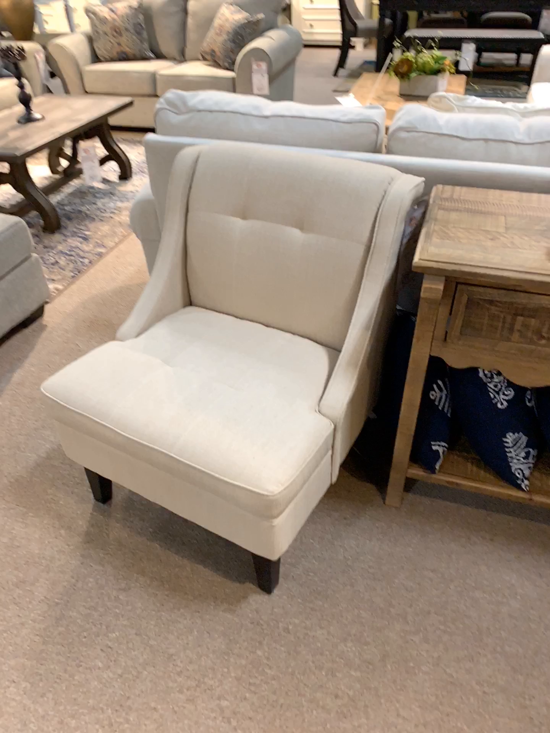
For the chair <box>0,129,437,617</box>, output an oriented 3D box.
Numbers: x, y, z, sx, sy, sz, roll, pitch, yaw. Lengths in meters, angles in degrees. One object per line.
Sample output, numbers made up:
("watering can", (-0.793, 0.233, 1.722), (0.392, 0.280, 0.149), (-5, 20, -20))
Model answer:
("chair", (-0.110, -0.053, 1.454), (0.714, 0.800, 0.773), (19, 43, 25))
